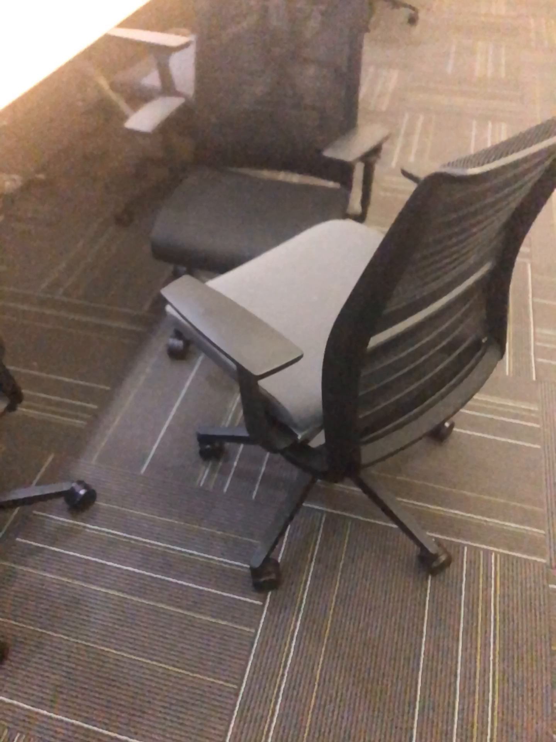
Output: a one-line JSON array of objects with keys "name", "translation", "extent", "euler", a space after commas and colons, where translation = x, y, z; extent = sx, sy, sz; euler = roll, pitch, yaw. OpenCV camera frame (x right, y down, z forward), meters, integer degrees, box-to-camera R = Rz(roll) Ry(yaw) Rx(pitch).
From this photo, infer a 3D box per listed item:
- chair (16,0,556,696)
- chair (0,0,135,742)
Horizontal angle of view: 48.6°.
[{"name": "chair", "translation": [0.141, -0.096, 1.181], "extent": [0.724, 0.962, 0.712], "euler": [-33, 53, -30]}, {"name": "chair", "translation": [-0.836, 0.042, 1.031], "extent": [0.721, 0.962, 0.735], "euler": [26, 49, 24]}]
